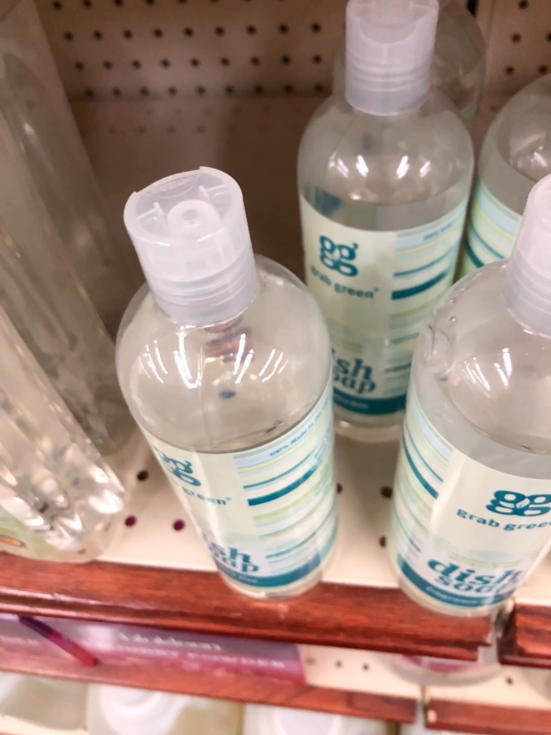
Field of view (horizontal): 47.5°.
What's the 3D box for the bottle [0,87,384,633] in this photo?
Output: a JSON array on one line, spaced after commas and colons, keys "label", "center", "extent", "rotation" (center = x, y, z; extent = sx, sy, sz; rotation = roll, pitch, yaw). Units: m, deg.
[{"label": "bottle", "center": [-0.013, 0.022, 0.208], "extent": [0.070, 0.200, 0.060], "rotation": [21, 61, 19]}]
